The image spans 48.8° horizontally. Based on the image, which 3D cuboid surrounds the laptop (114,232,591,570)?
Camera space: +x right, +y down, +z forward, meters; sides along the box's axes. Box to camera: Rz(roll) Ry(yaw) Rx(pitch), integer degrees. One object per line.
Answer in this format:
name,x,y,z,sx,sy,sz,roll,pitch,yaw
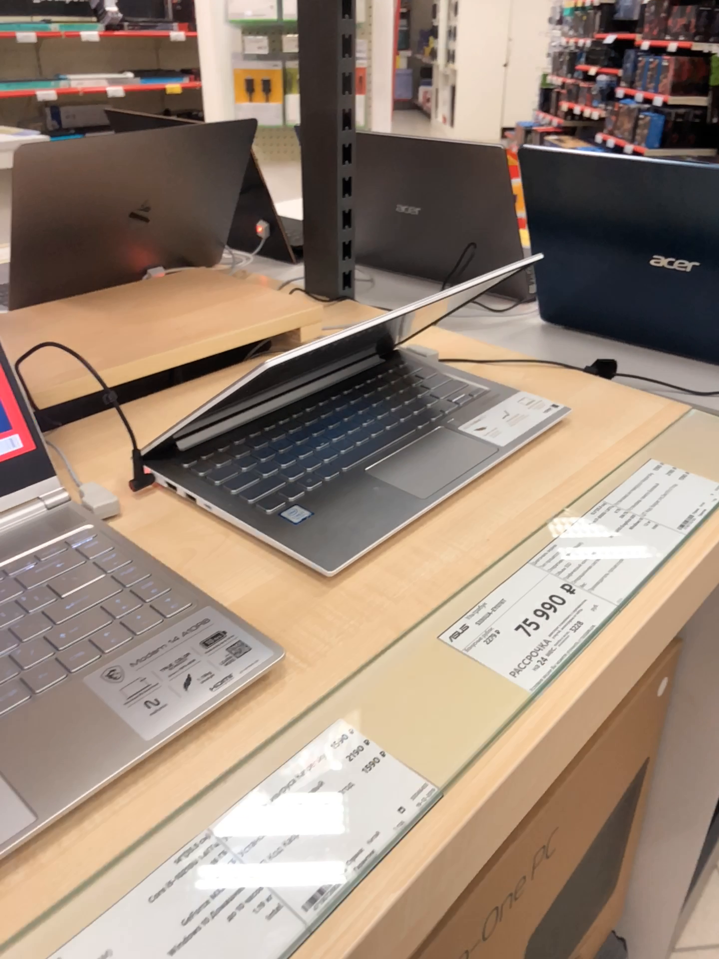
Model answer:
laptop,0.008,-0.088,0.614,0.197,0.119,0.310,24,37,34
